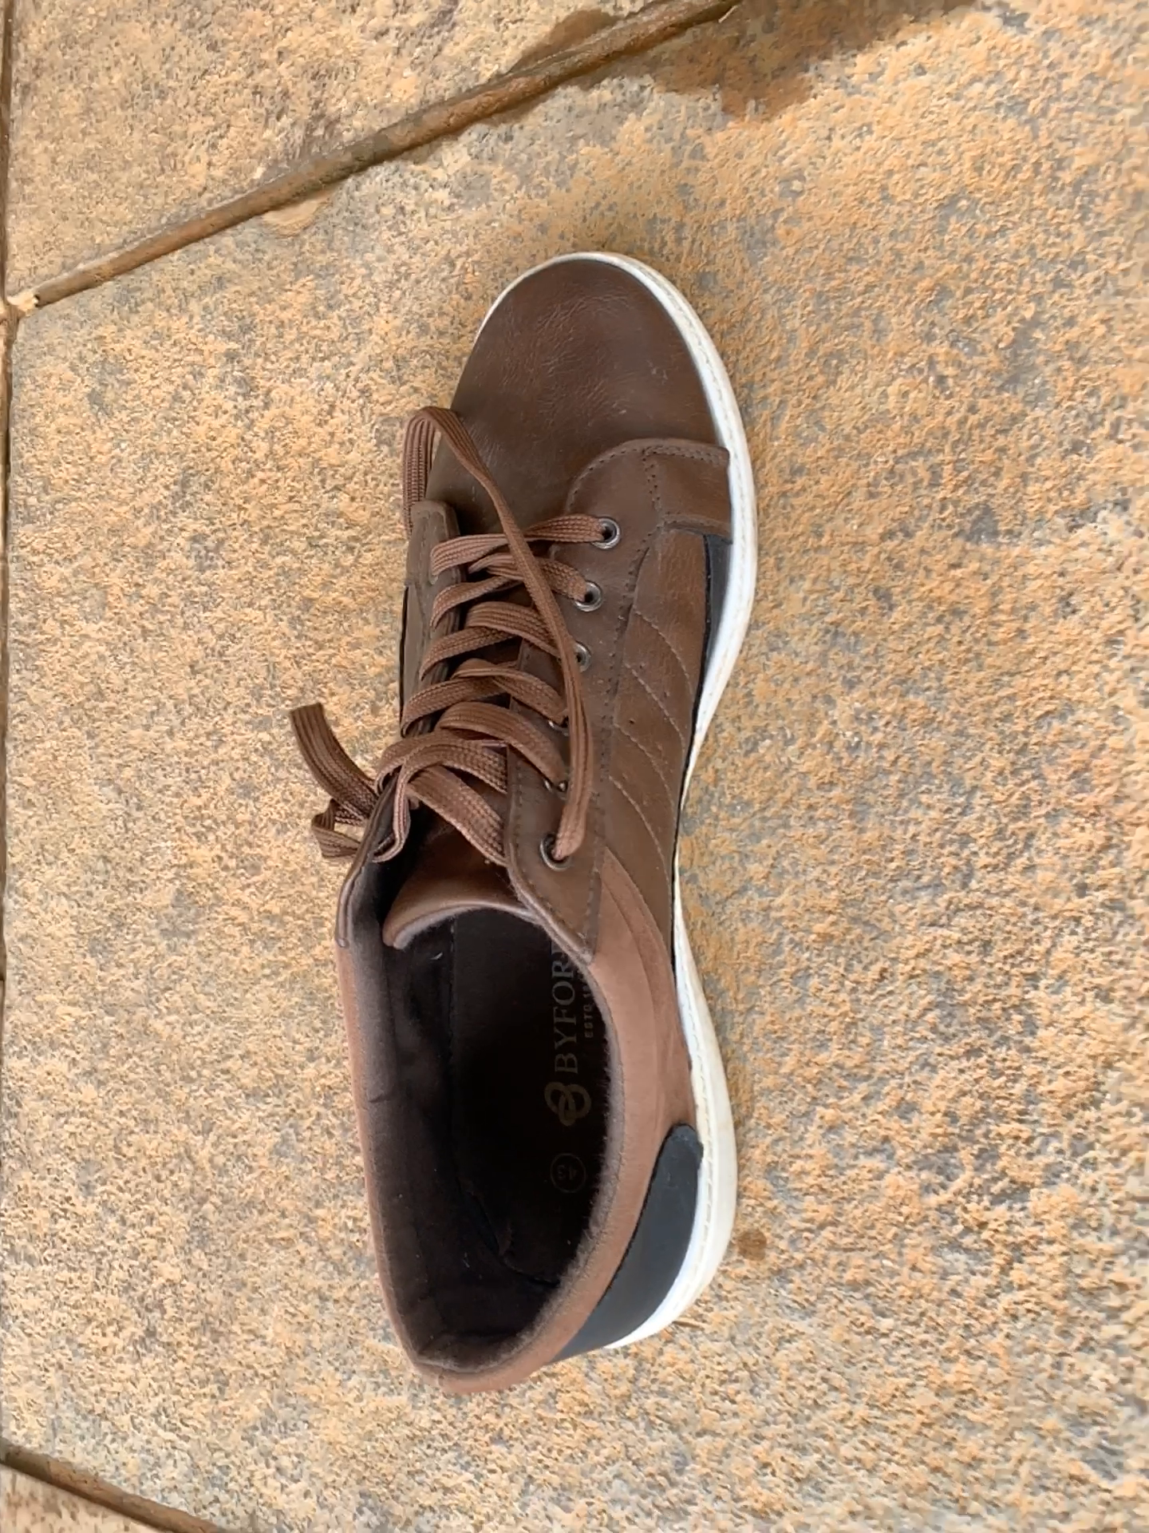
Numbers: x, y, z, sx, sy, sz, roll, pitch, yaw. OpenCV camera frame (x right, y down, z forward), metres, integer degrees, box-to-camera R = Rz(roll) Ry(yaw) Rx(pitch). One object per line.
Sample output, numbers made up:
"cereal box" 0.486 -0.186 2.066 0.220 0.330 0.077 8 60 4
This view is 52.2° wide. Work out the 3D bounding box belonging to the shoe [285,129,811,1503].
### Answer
"shoe" -0.009 0.009 0.319 0.111 0.080 0.300 -5 83 32
